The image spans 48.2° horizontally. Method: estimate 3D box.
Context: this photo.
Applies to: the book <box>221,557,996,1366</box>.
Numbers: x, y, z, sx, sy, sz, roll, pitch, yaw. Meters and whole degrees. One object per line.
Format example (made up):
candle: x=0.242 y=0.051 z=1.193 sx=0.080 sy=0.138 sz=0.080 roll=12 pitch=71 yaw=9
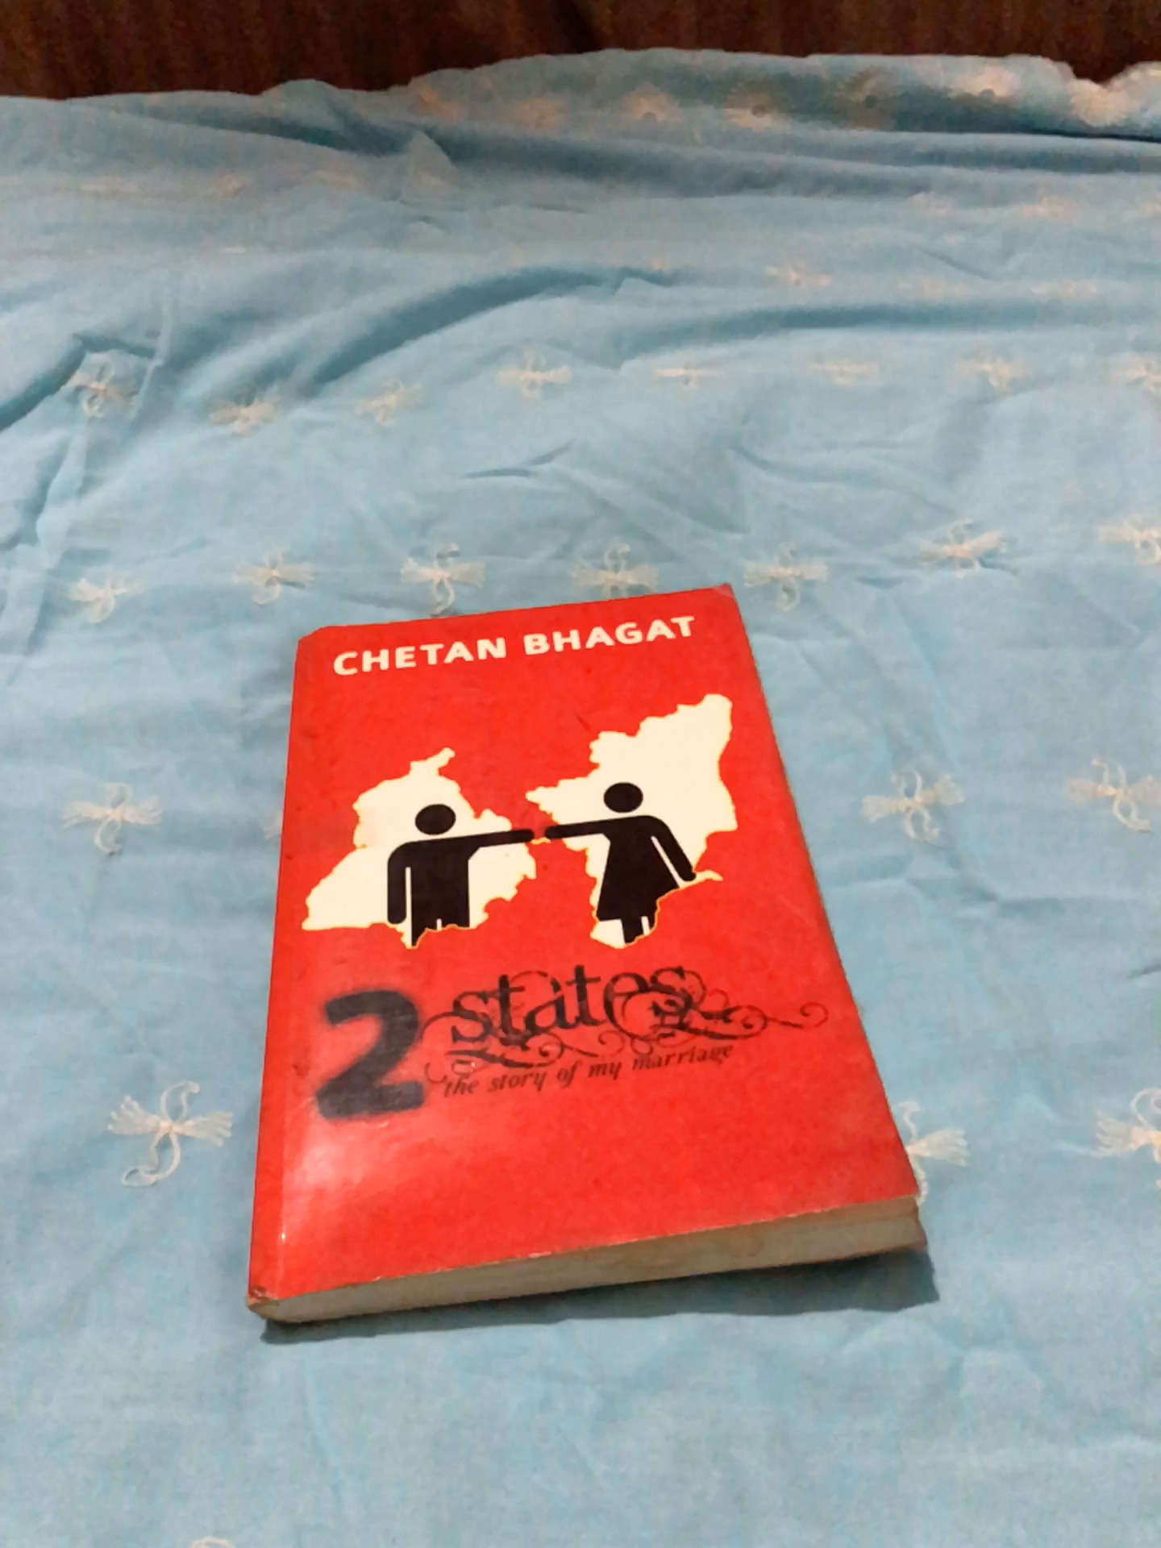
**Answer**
book: x=-0.005 y=0.025 z=0.313 sx=0.140 sy=0.030 sz=0.201 roll=-5 pitch=46 yaw=-4
